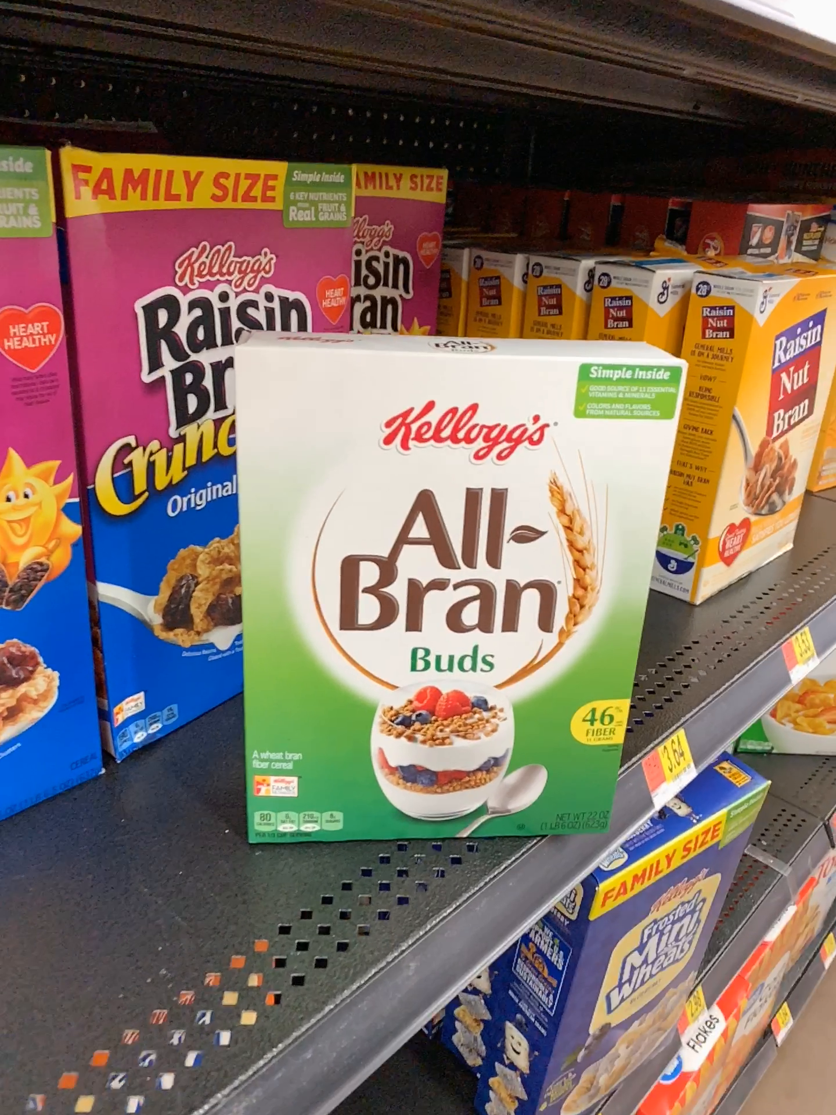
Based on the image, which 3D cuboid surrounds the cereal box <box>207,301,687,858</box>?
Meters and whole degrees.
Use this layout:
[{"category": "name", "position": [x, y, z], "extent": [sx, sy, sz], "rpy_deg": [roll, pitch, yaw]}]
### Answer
[{"category": "cereal box", "position": [0.005, 0.020, 0.408], "extent": [0.190, 0.259, 0.050], "rpy_deg": [1, 22, -6]}]
